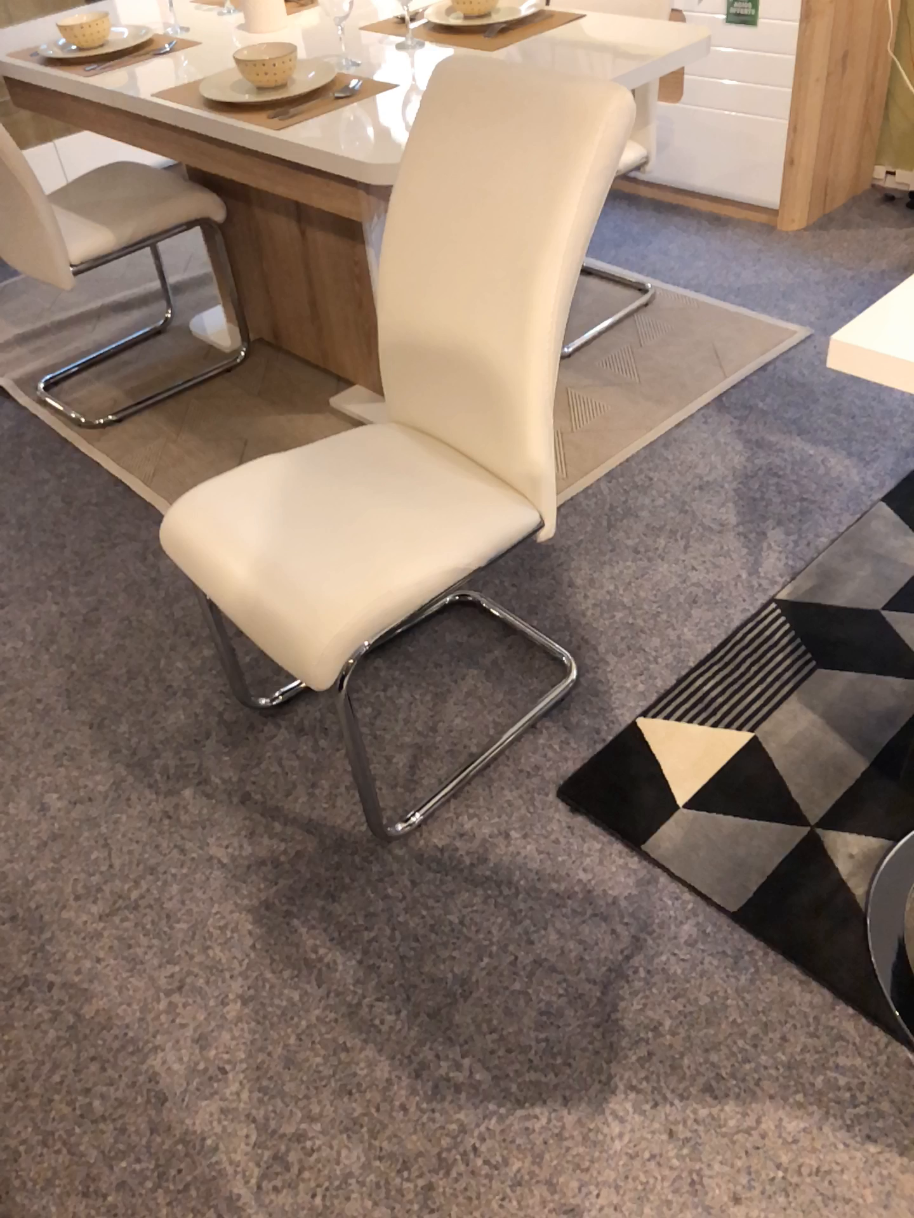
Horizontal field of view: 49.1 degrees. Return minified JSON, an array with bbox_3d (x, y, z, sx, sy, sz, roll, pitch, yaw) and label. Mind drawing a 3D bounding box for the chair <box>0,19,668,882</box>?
[{"bbox_3d":[-0.104,-0.209,1.387,0.552,0.925,0.501,-34,48,-28],"label":"chair"}]
